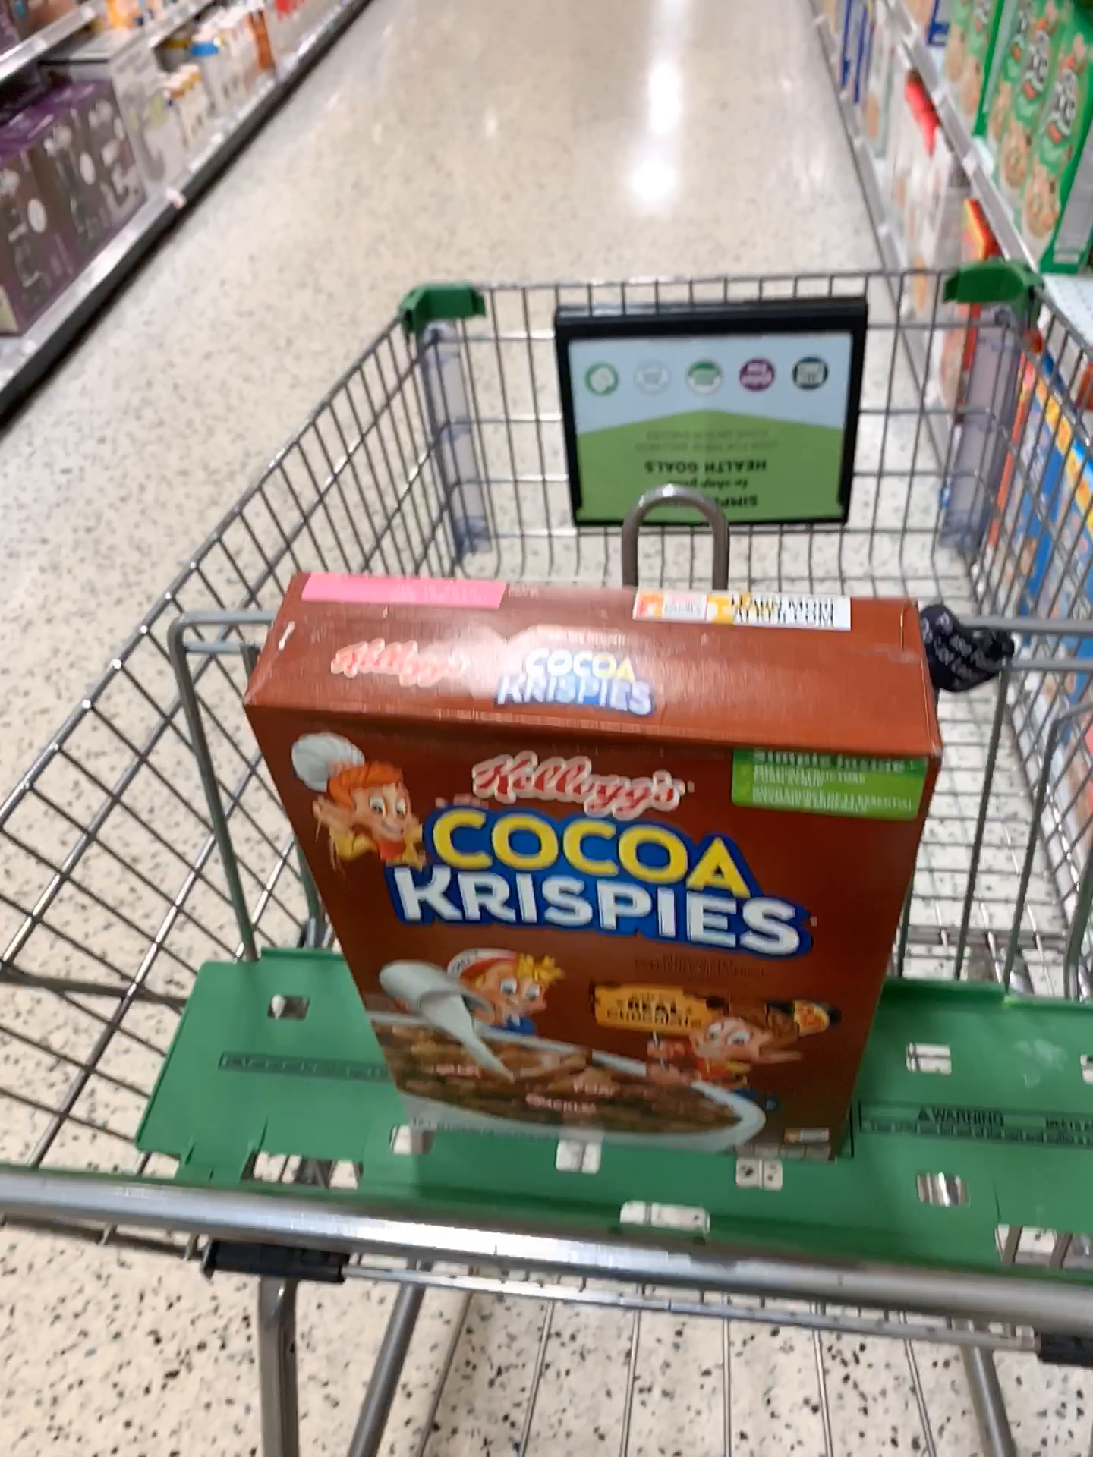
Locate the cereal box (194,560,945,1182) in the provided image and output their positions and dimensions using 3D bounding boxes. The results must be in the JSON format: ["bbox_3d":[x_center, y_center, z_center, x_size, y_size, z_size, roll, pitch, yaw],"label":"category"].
[{"bbox_3d":[0.021,0.076,0.431,0.200,0.307,0.061,3,50,10],"label":"cereal box"}]
